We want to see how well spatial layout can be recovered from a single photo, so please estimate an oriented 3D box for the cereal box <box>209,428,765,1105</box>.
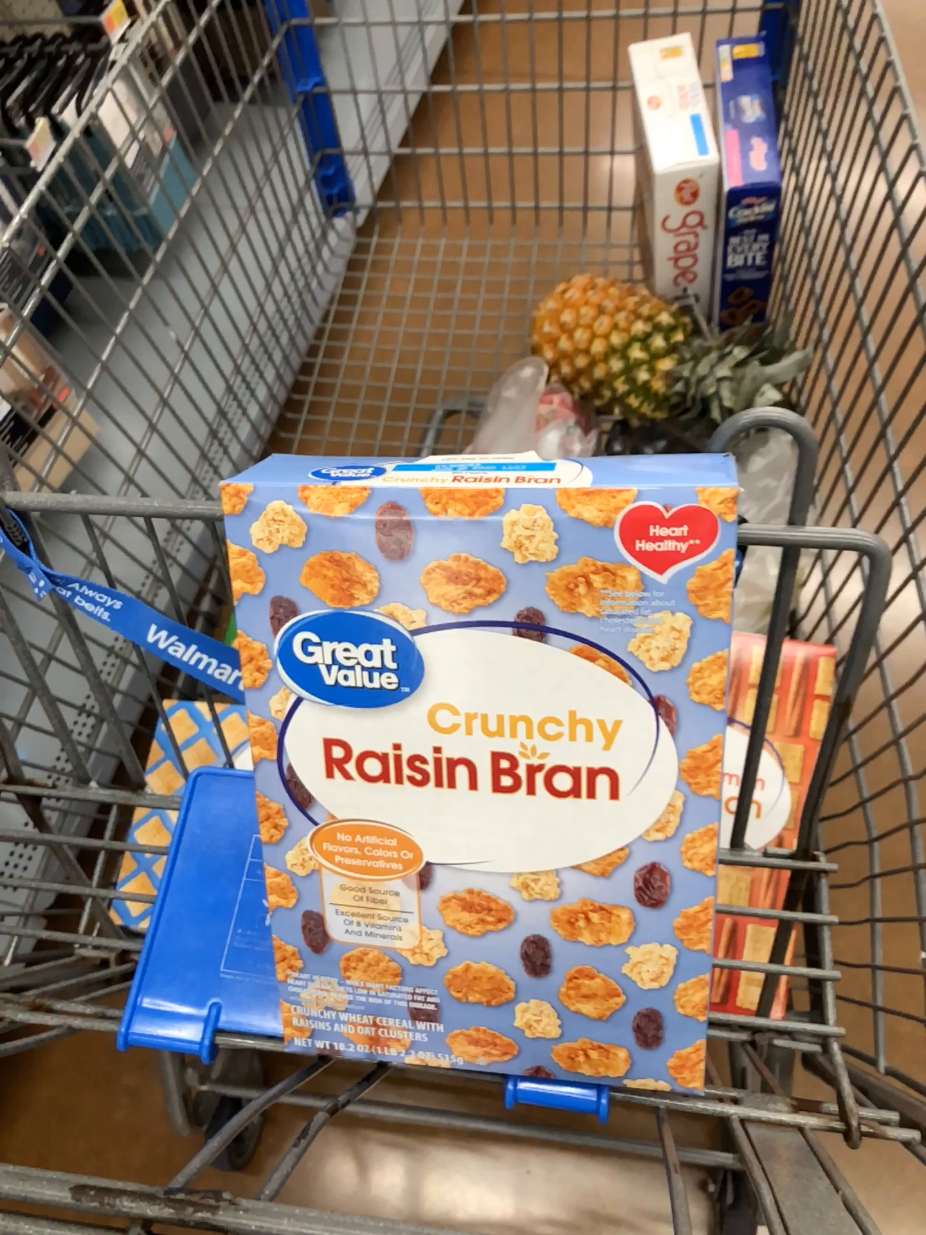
[{"bbox_3d":[0.012,0.064,0.444,0.200,0.280,0.070,2,19,8],"label":"cereal box"}]
